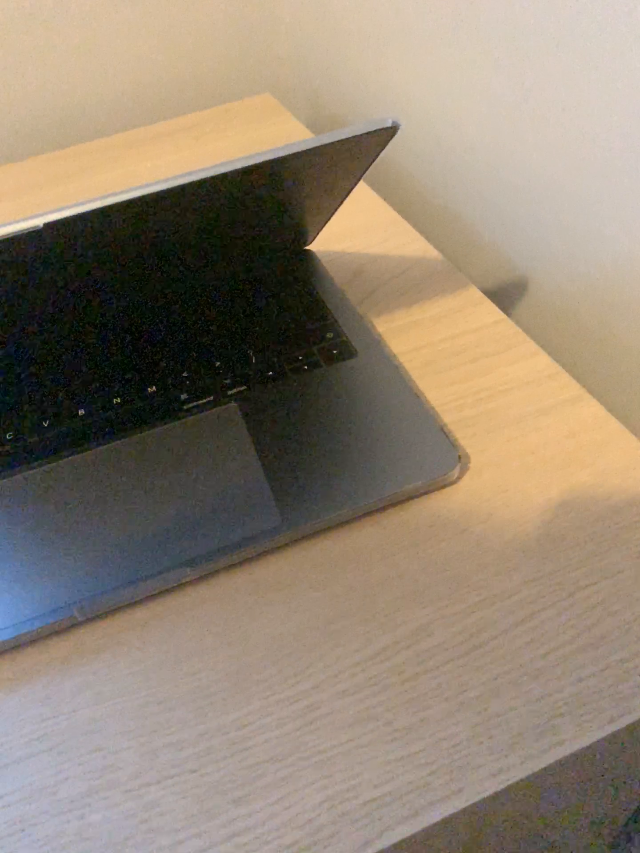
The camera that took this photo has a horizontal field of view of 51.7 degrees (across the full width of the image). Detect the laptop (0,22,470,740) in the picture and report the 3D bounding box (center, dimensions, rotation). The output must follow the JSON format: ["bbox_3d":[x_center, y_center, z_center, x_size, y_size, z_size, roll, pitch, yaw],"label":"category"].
[{"bbox_3d":[-0.117,-0.047,0.284,0.290,0.130,0.205,-19,45,-9],"label":"laptop"}]
